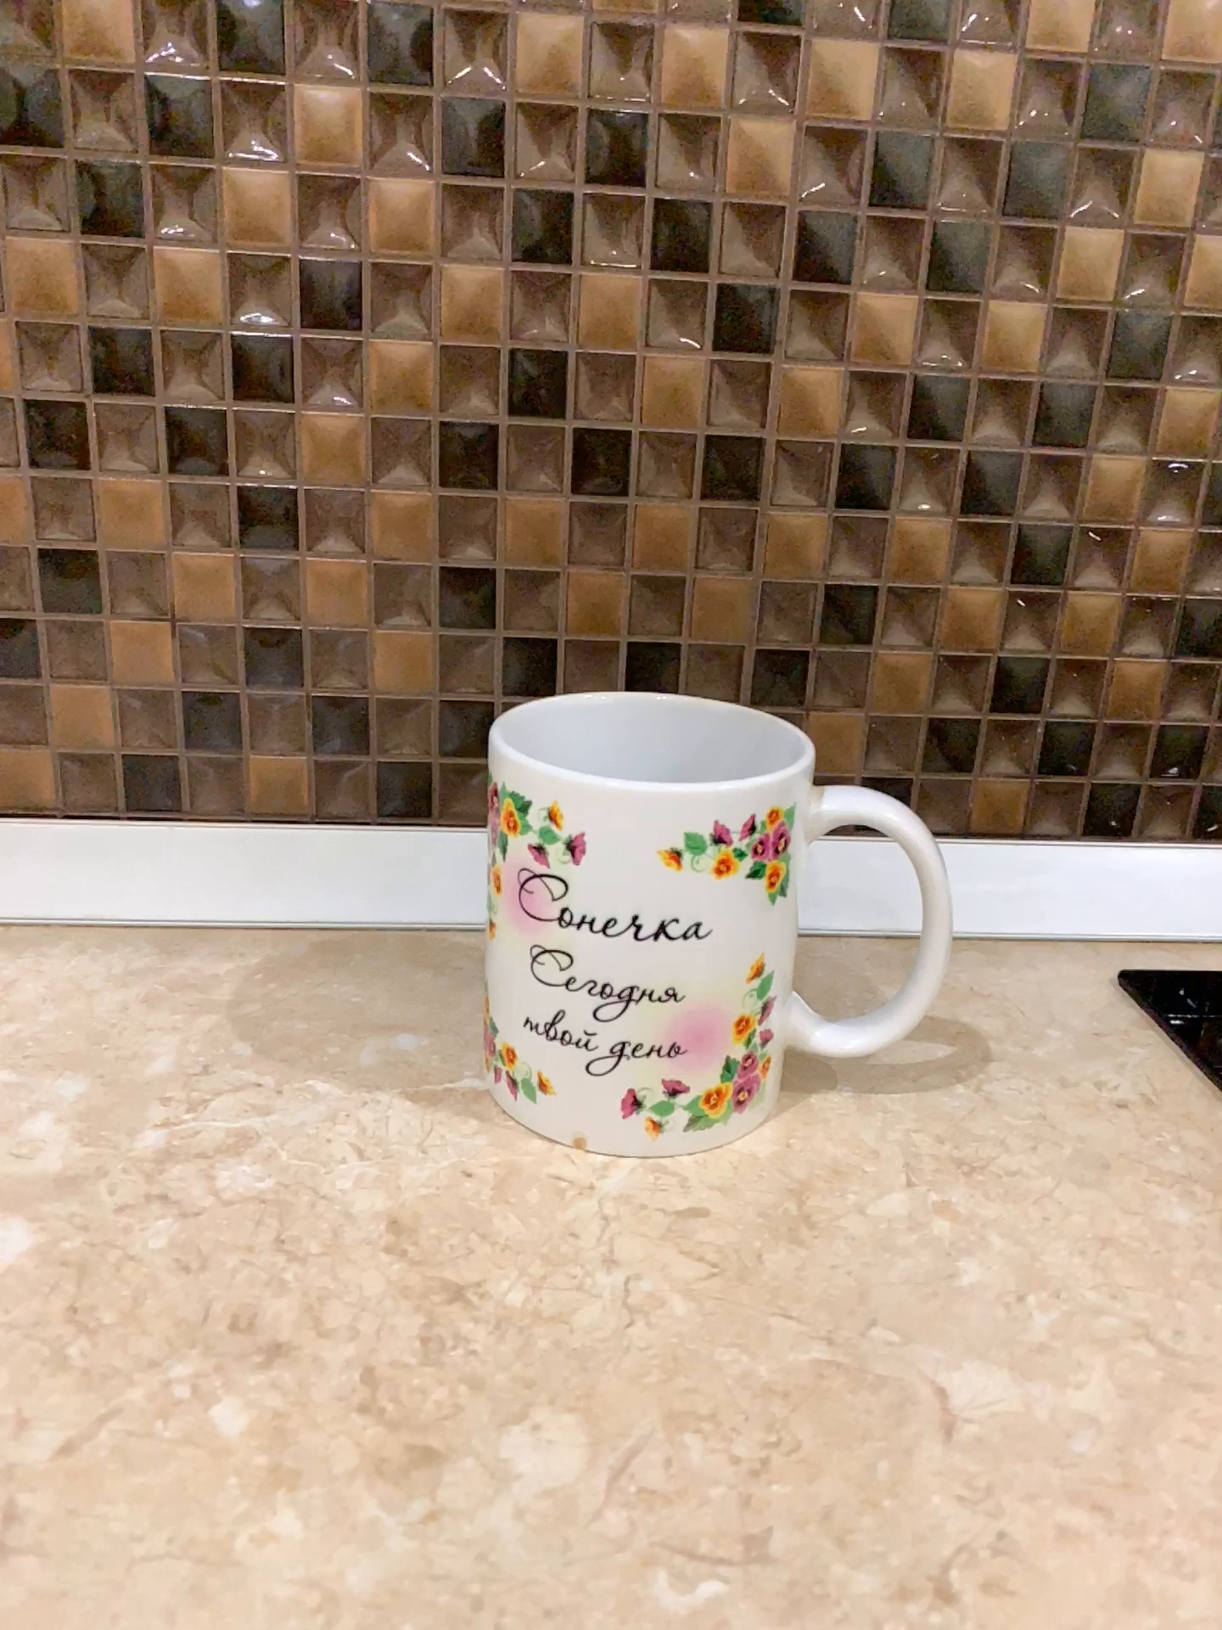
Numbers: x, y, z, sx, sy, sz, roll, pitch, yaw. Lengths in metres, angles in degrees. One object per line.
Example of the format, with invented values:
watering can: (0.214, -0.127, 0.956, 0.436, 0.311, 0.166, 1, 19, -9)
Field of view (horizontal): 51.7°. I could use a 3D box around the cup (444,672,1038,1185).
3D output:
cup: (0.025, 0.023, 0.320, 0.123, 0.093, 0.091, 3, 20, -1)
